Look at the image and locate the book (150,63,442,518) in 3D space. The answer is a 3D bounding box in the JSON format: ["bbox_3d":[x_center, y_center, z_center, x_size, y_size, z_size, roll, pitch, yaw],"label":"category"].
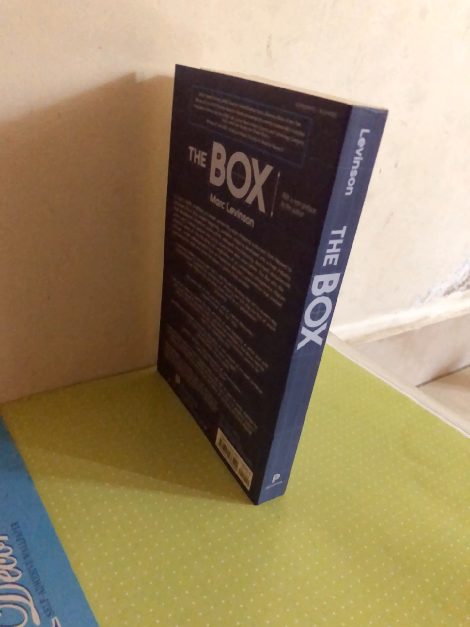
[{"bbox_3d":[0.009,-0.027,0.326,0.050,0.219,0.181,-6,28,-29],"label":"book"}]
